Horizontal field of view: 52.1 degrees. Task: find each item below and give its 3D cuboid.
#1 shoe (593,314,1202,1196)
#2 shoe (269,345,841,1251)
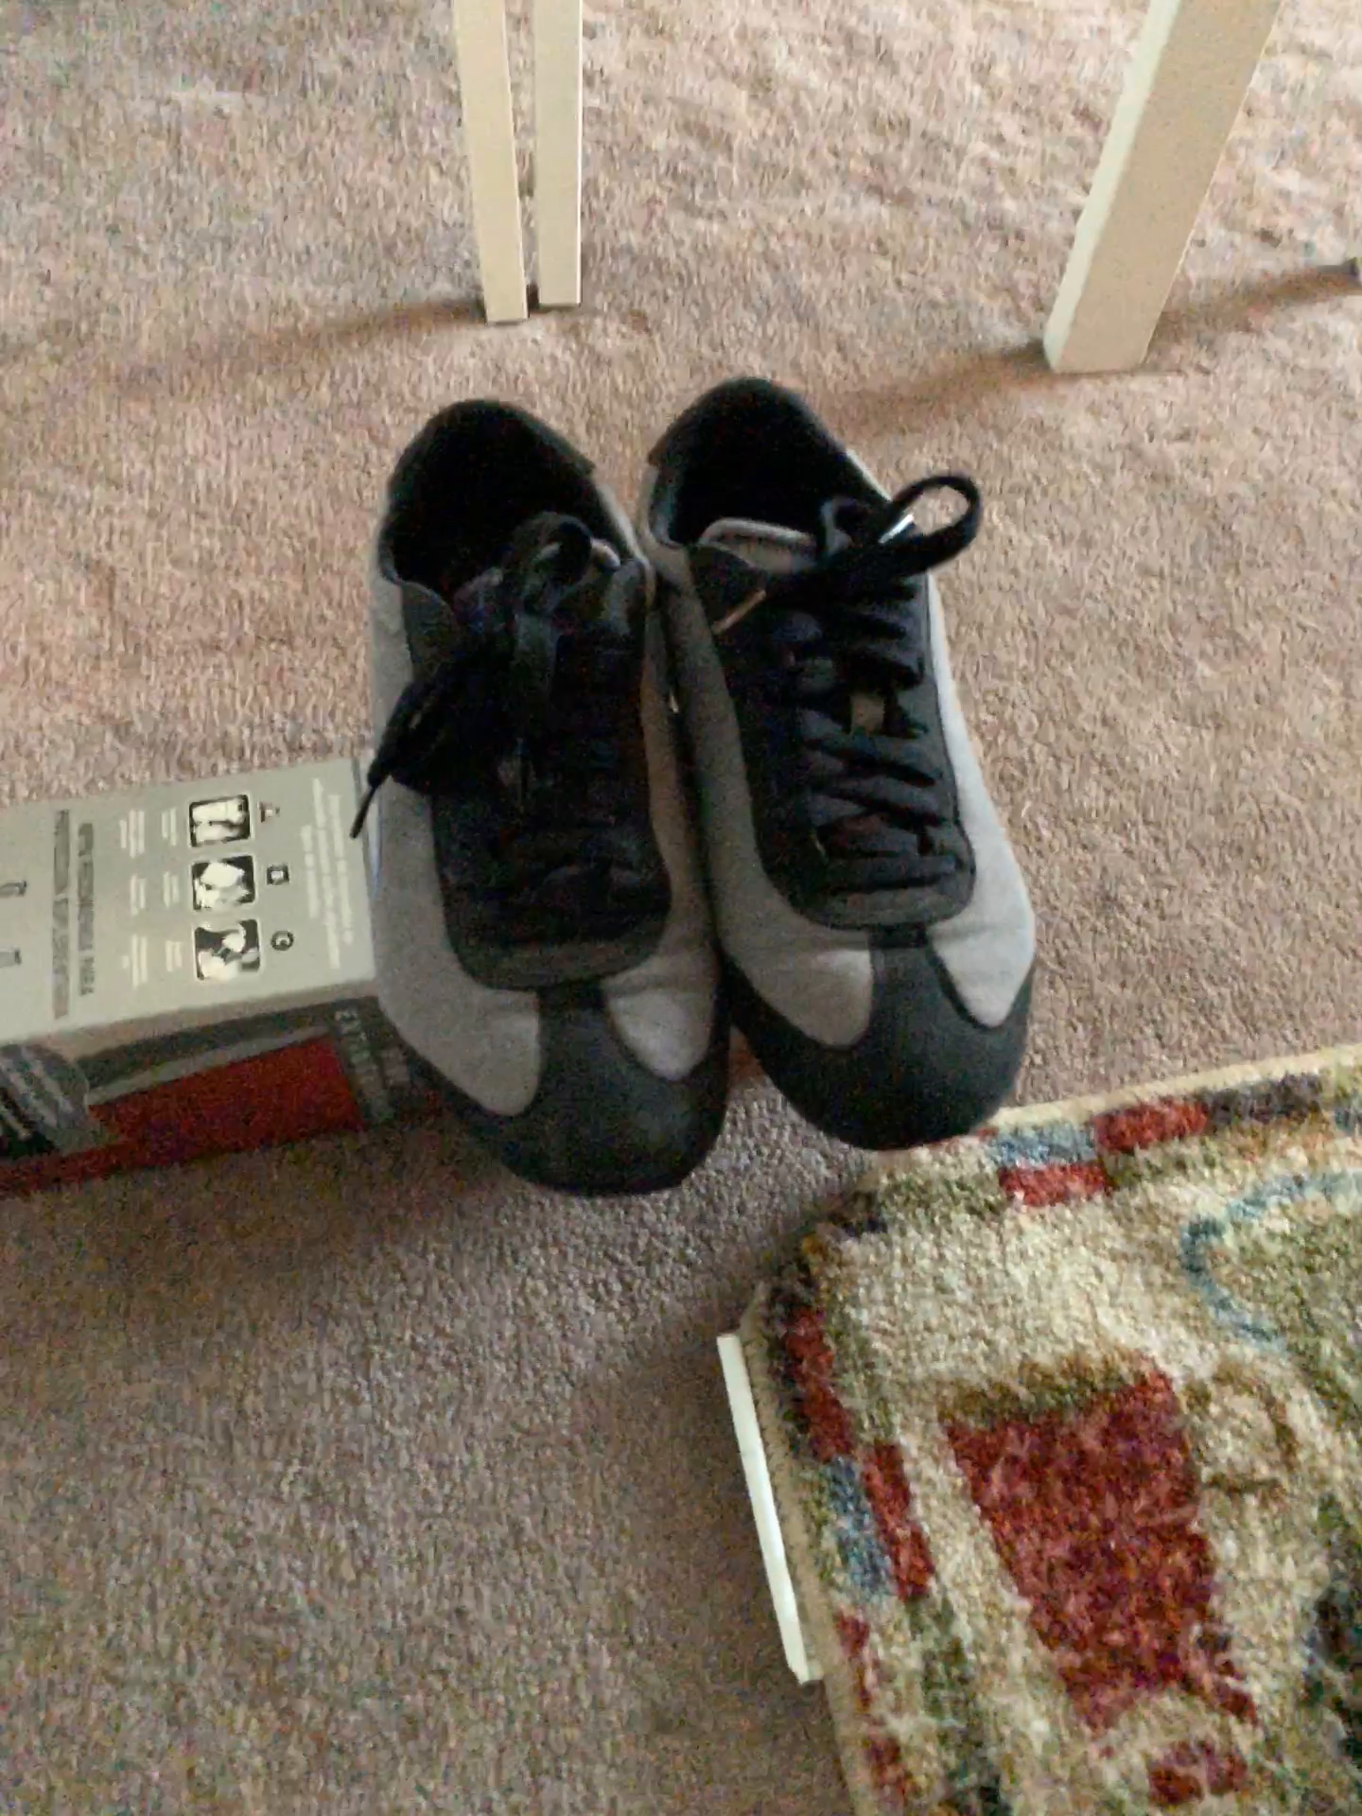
[{"bbox_3d":[0.048,-0.056,0.417,0.100,0.077,0.252,-11,61,-5],"label":"shoe"},{"bbox_3d":[-0.045,-0.041,0.396,0.110,0.077,0.241,-9,63,-9],"label":"shoe"}]
